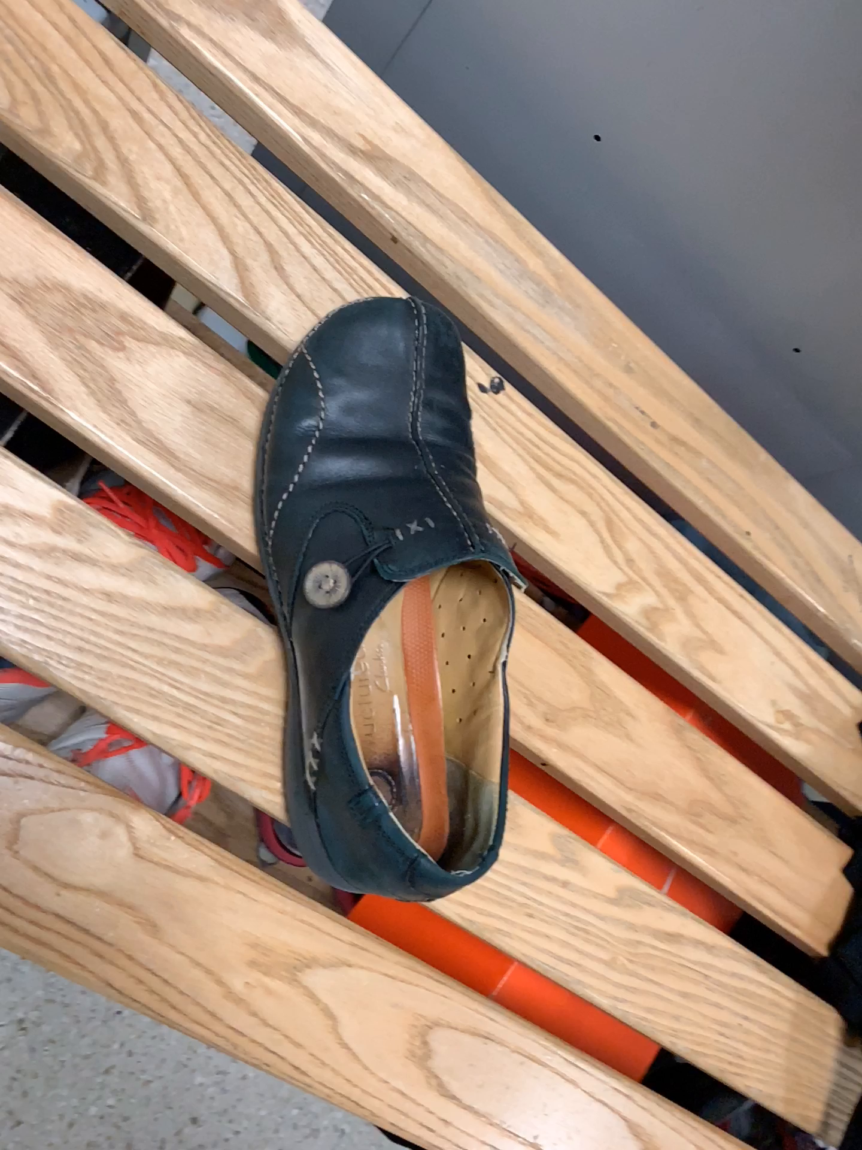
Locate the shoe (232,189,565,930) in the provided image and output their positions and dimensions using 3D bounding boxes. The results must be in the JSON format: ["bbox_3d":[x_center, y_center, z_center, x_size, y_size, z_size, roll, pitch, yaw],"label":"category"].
[{"bbox_3d":[-0.018,-0.007,0.372,0.104,0.075,0.268,0,82,-28],"label":"shoe"}]
